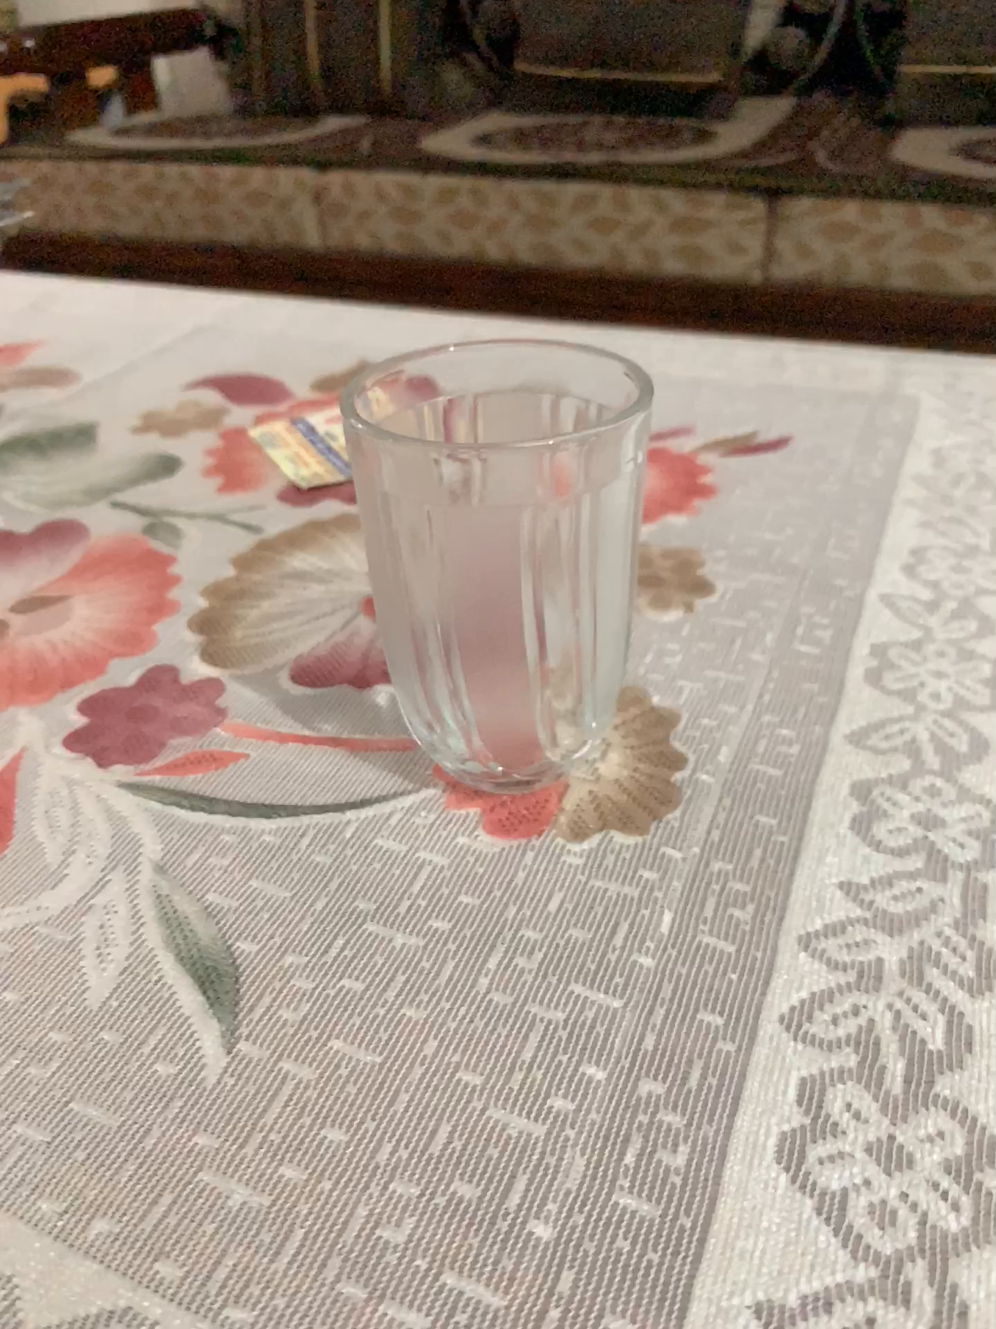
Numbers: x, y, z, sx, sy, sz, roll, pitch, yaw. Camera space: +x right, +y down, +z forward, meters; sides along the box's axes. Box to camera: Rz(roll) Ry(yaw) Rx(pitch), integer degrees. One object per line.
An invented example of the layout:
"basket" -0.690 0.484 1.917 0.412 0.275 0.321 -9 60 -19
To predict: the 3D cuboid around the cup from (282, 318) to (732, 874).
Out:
"cup" 0.004 -0.020 0.258 0.070 0.100 0.070 -2 35 2
